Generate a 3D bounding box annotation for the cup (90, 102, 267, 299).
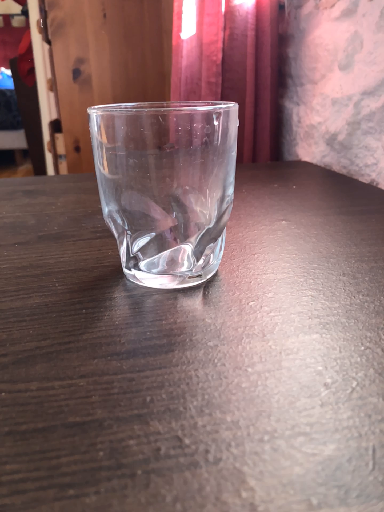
[{"bbox_3d":[-0.011,-0.036,0.230,0.075,0.085,0.078,-1,21,0],"label":"cup"}]
